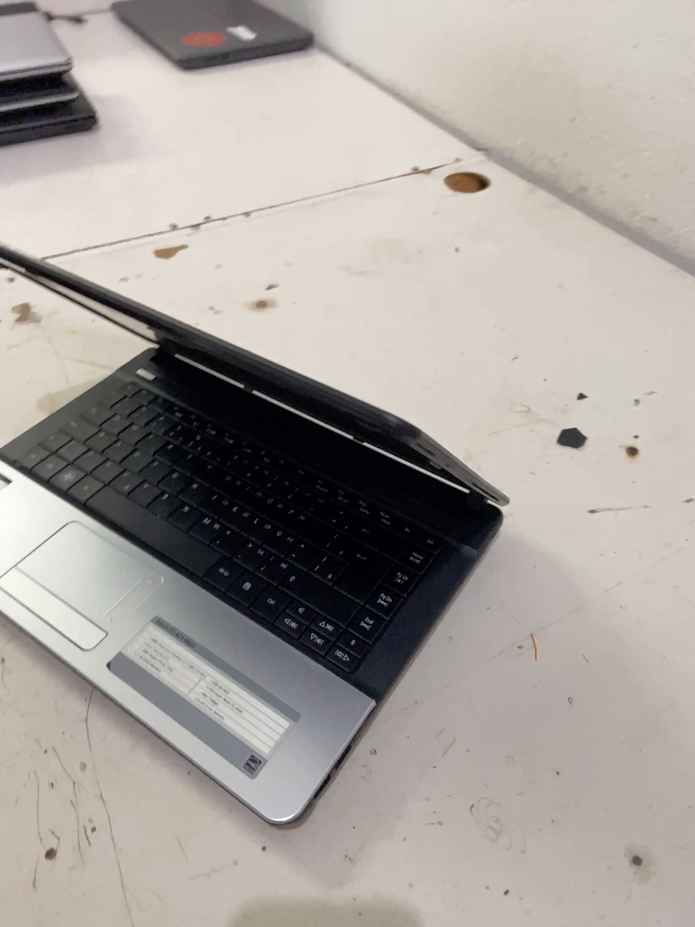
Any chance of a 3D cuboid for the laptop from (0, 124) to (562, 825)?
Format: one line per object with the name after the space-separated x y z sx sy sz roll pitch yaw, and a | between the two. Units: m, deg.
-0.099 -0.028 0.415 0.334 0.184 0.239 26 52 24 | laptop
